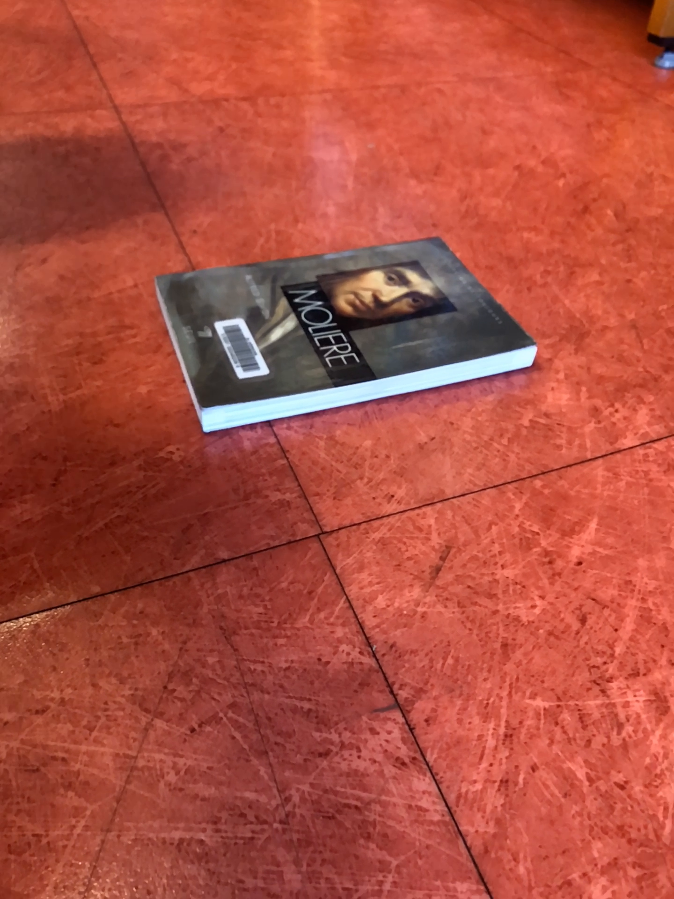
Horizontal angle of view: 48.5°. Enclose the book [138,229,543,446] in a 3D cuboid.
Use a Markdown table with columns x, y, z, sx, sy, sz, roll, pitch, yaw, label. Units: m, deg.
| x | y | z | sx | sy | sz | roll | pitch | yaw | label |
| --- | --- | --- | --- | --- | --- | --- | --- | --- | --- |
| -0.004 | -0.071 | 0.407 | 0.183 | 0.015 | 0.135 | -12 | 46 | -16 | book |
